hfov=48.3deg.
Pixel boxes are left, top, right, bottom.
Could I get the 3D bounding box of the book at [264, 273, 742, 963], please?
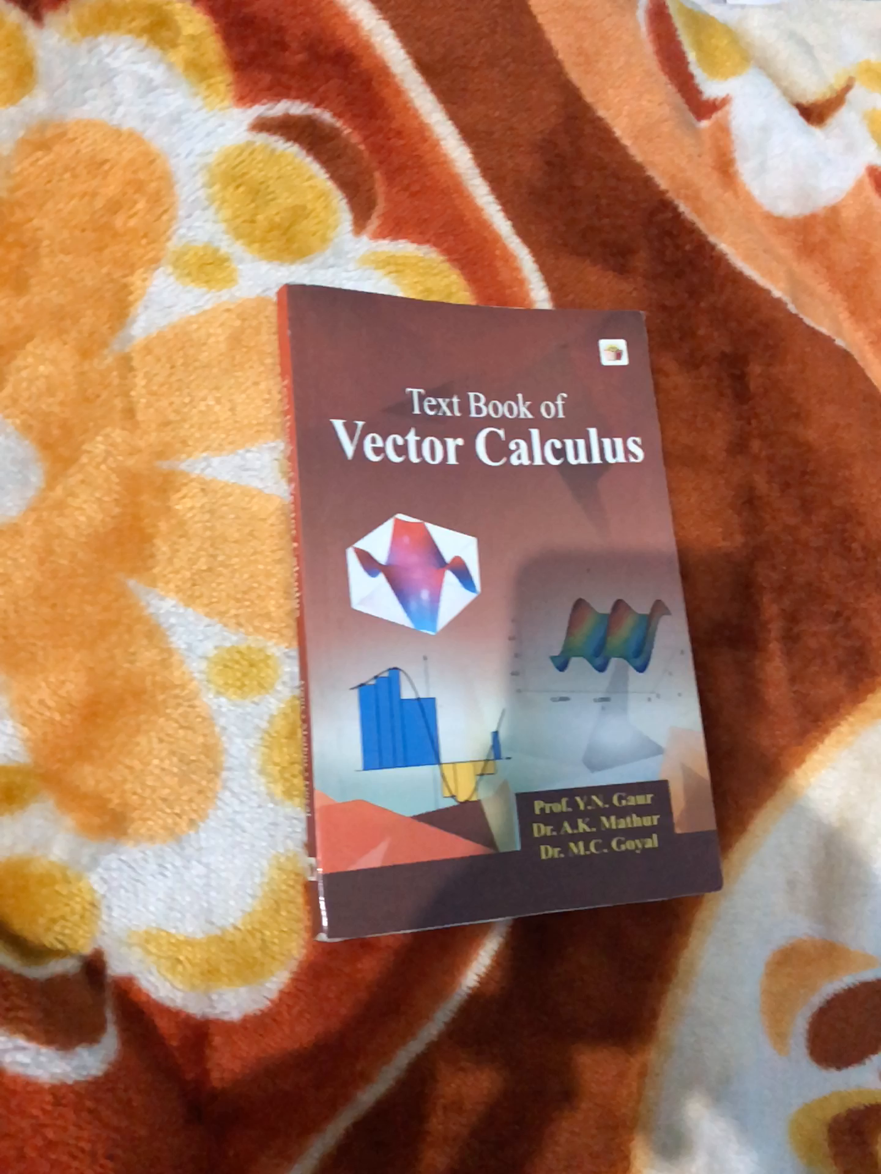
[{"bbox_3d":[0.019,0.003,0.326,0.140,0.020,0.210,-2,79,-19],"label":"book"}]
